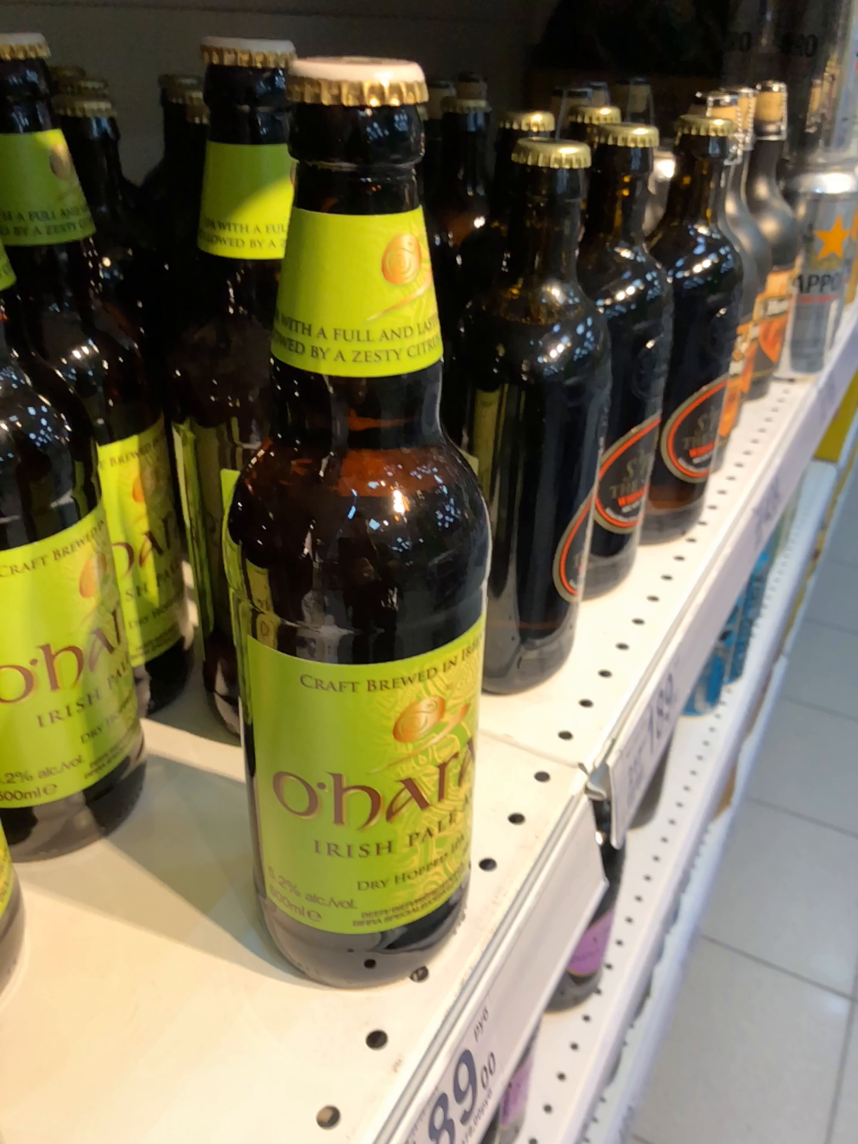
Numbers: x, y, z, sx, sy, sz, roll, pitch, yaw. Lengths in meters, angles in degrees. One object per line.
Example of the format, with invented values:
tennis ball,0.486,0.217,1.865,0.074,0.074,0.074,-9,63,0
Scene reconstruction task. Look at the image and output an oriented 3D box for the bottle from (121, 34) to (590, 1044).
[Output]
bottle,-0.021,0.002,0.253,0.070,0.250,0.070,2,29,-1
